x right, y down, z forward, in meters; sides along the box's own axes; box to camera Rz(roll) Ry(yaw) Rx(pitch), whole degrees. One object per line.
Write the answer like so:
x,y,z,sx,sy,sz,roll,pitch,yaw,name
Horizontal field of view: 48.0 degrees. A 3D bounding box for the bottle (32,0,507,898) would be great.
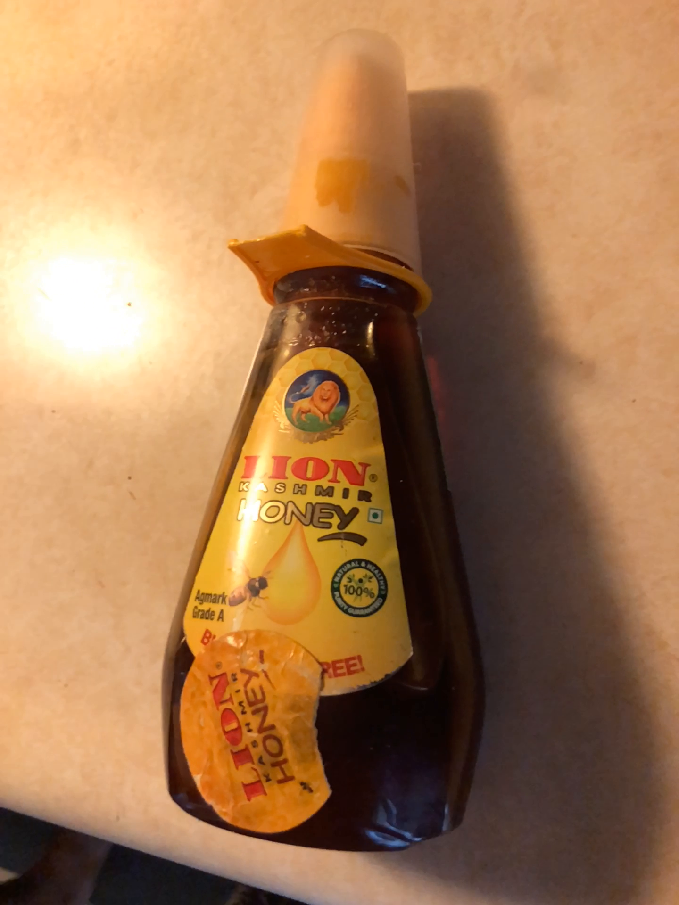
-0.011,-0.013,0.184,0.090,0.050,0.190,0,82,21,bottle
